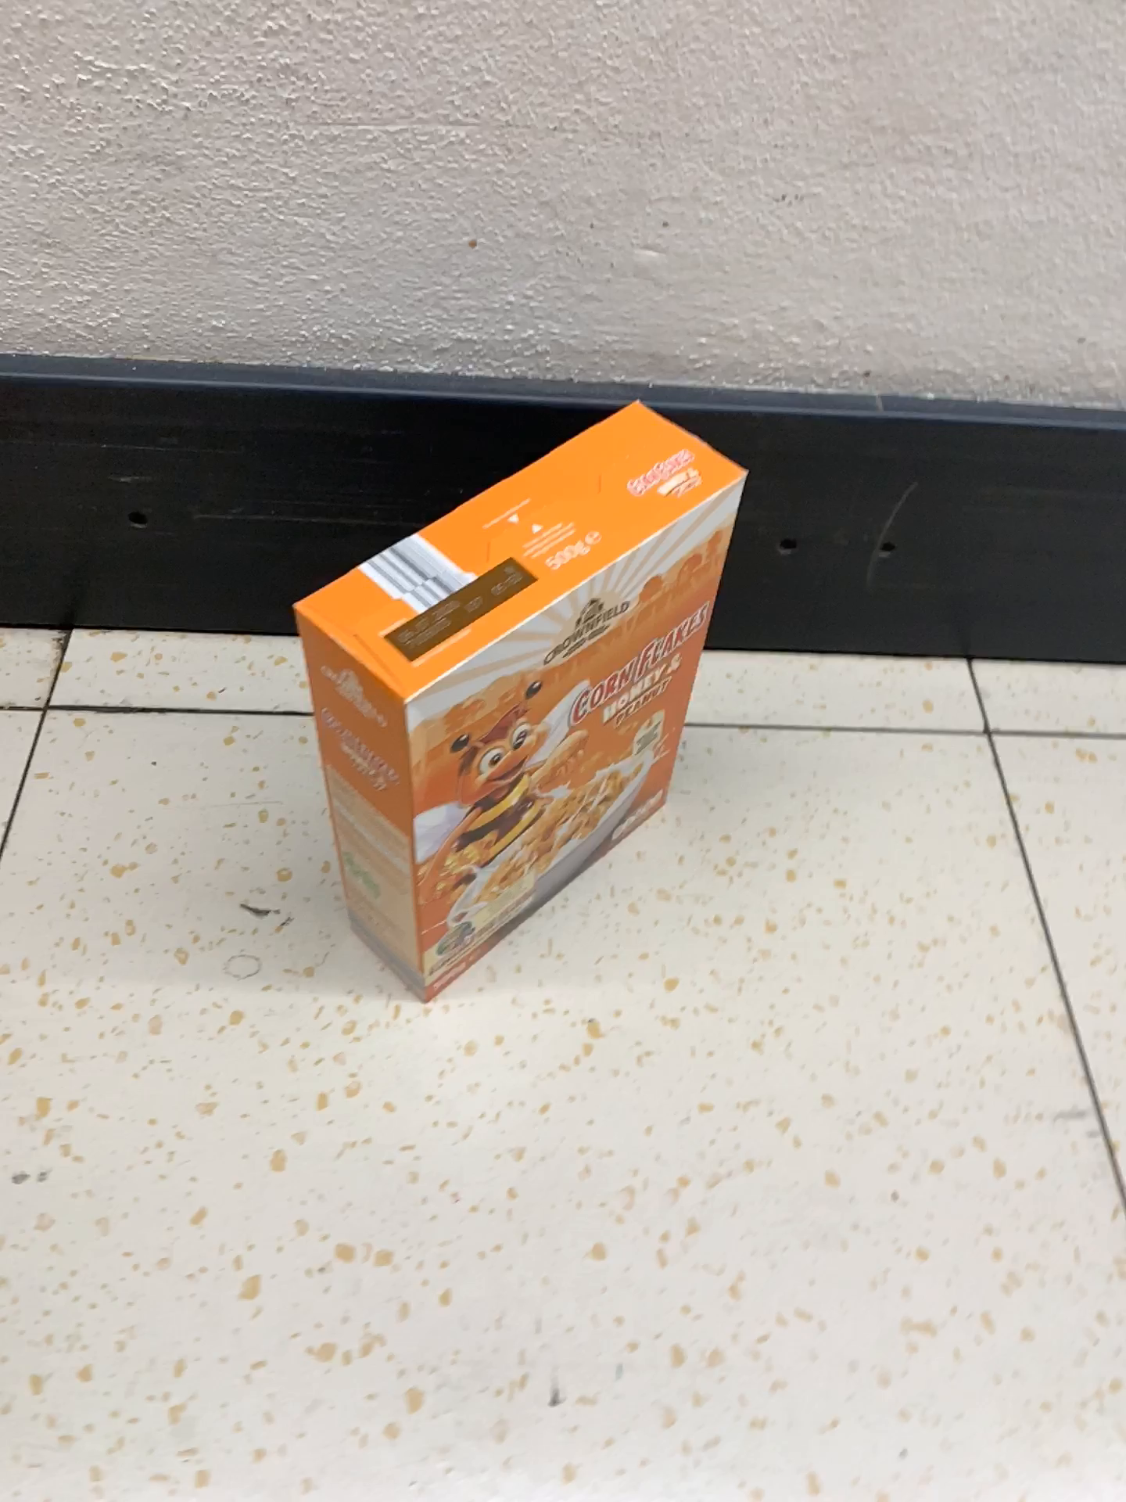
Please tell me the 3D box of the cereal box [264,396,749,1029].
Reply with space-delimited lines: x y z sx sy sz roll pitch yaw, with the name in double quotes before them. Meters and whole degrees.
"cereal box" -0.025 -0.006 0.571 0.201 0.268 0.070 -37 64 -27
